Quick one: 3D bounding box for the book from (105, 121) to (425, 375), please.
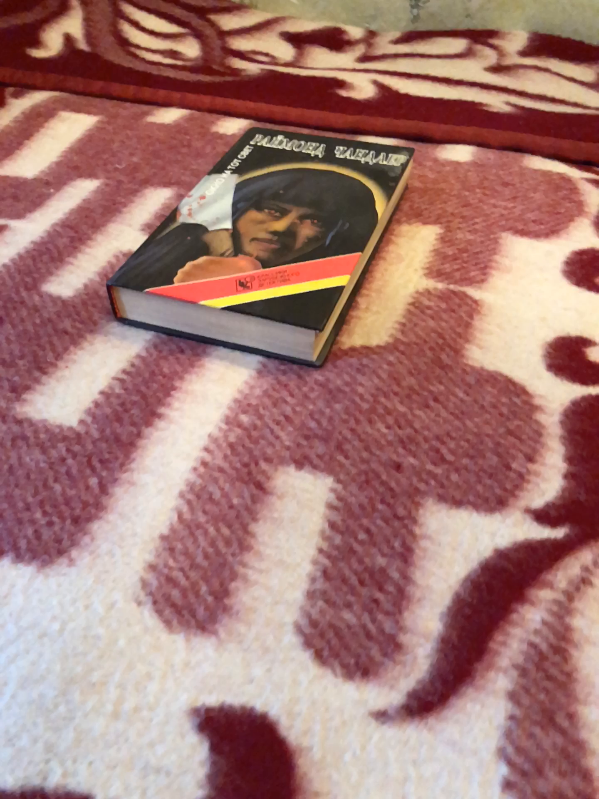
[{"bbox_3d":[-0.010,-0.112,0.431,0.133,0.032,0.209,14,49,15],"label":"book"}]
